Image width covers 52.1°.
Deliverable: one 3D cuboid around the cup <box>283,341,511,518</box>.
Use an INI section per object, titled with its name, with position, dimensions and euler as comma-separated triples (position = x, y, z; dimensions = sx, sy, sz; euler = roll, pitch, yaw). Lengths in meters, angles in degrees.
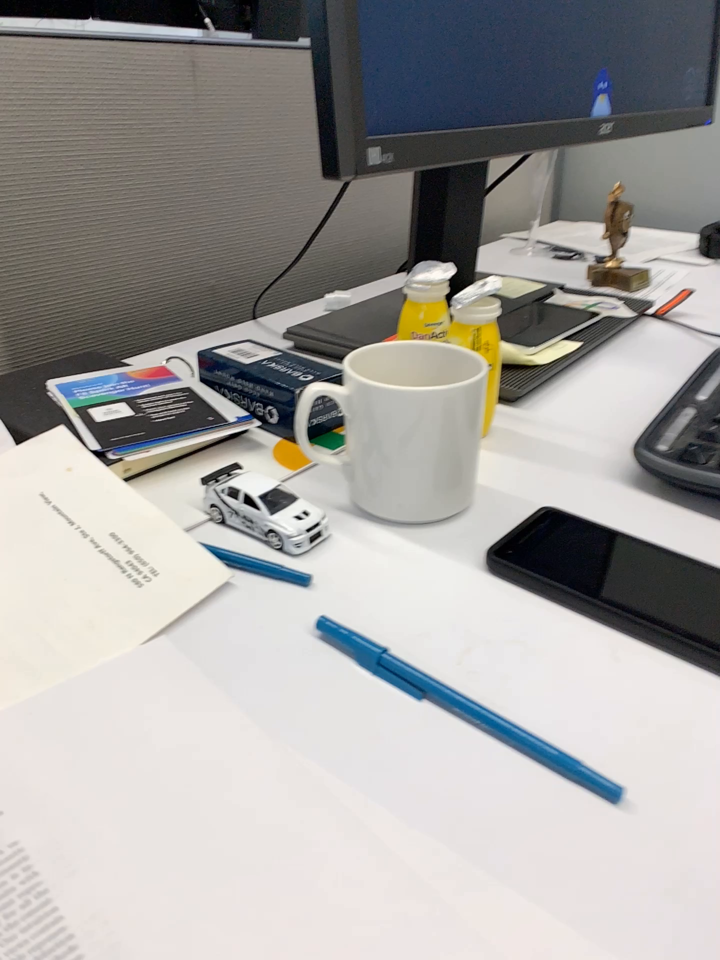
[cup]
position = 0.017, -0.032, 0.434
dimensions = 0.120, 0.080, 0.070
euler = -2, 27, -4
